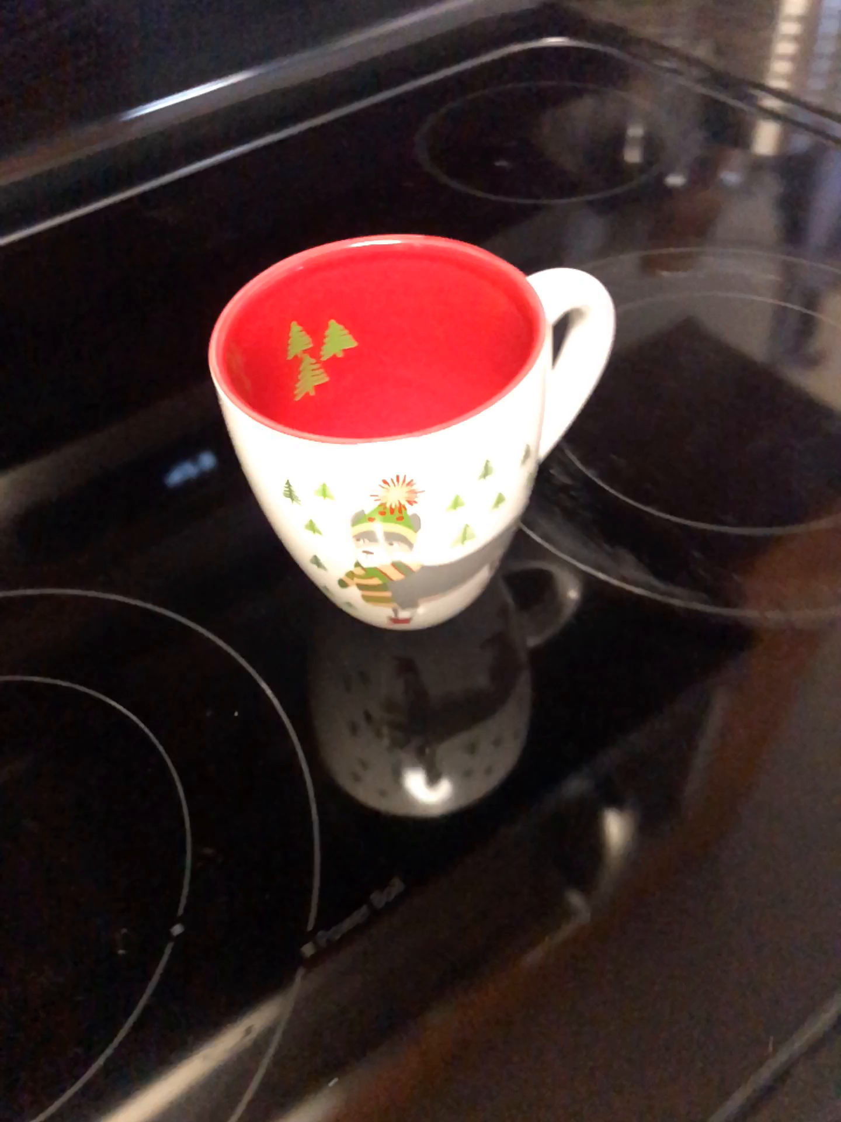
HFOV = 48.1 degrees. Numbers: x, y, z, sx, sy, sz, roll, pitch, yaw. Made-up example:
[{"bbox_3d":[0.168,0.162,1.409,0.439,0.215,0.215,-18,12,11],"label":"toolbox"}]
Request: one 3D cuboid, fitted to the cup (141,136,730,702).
[{"bbox_3d":[0.007,-0.052,0.312,0.140,0.100,0.100,-32,54,-22],"label":"cup"}]
